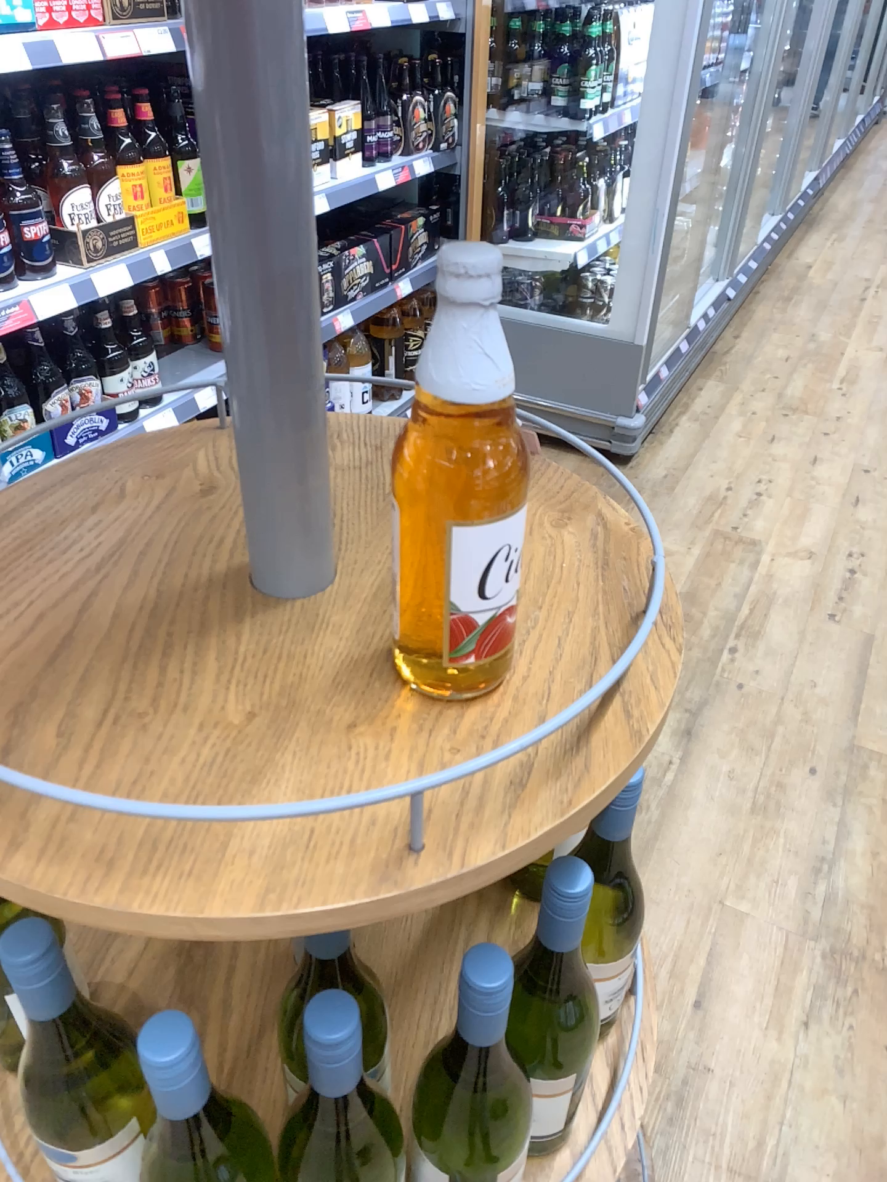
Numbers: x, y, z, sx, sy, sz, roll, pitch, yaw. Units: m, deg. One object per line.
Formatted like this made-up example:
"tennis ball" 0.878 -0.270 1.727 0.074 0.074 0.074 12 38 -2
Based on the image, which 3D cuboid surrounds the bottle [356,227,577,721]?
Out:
"bottle" 0.007 -0.050 0.435 0.070 0.218 0.070 2 35 -1
